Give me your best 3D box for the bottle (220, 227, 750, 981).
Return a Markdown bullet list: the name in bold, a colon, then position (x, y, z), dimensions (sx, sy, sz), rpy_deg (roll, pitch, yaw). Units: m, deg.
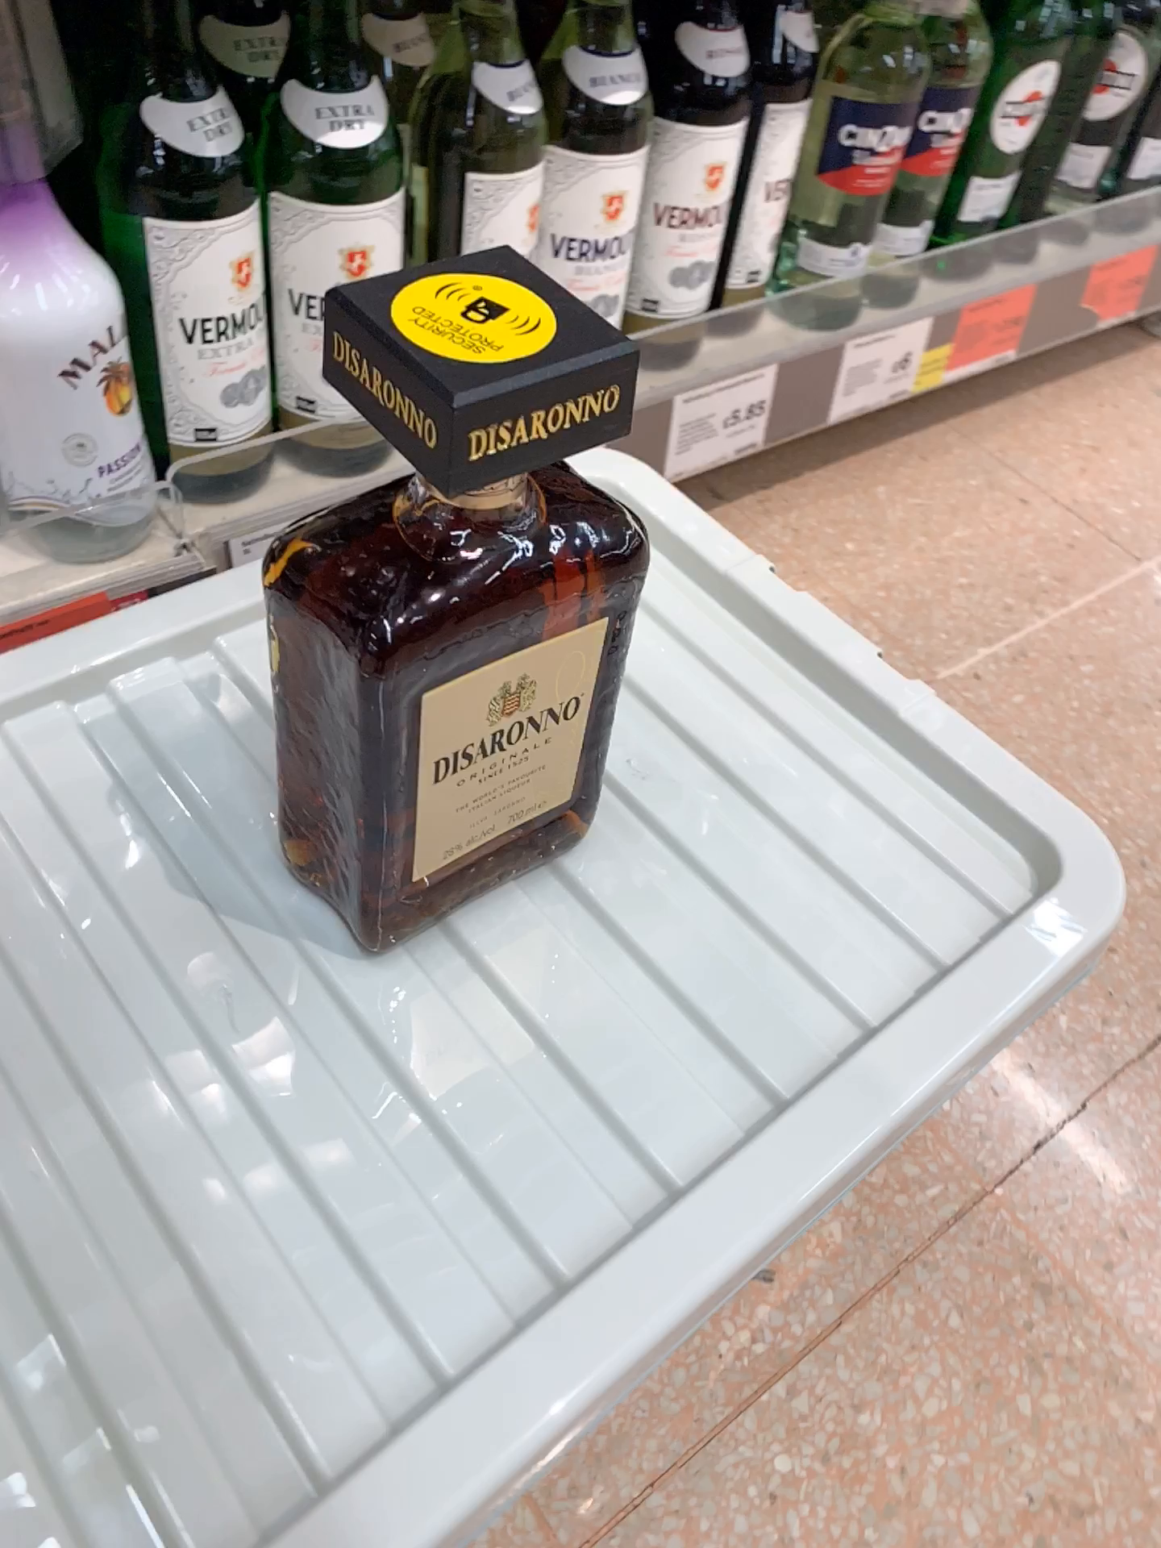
- **bottle**: position (-0.035, -0.042, 0.372), dimensions (0.111, 0.208, 0.070), rpy_deg (-28, 59, -30)
